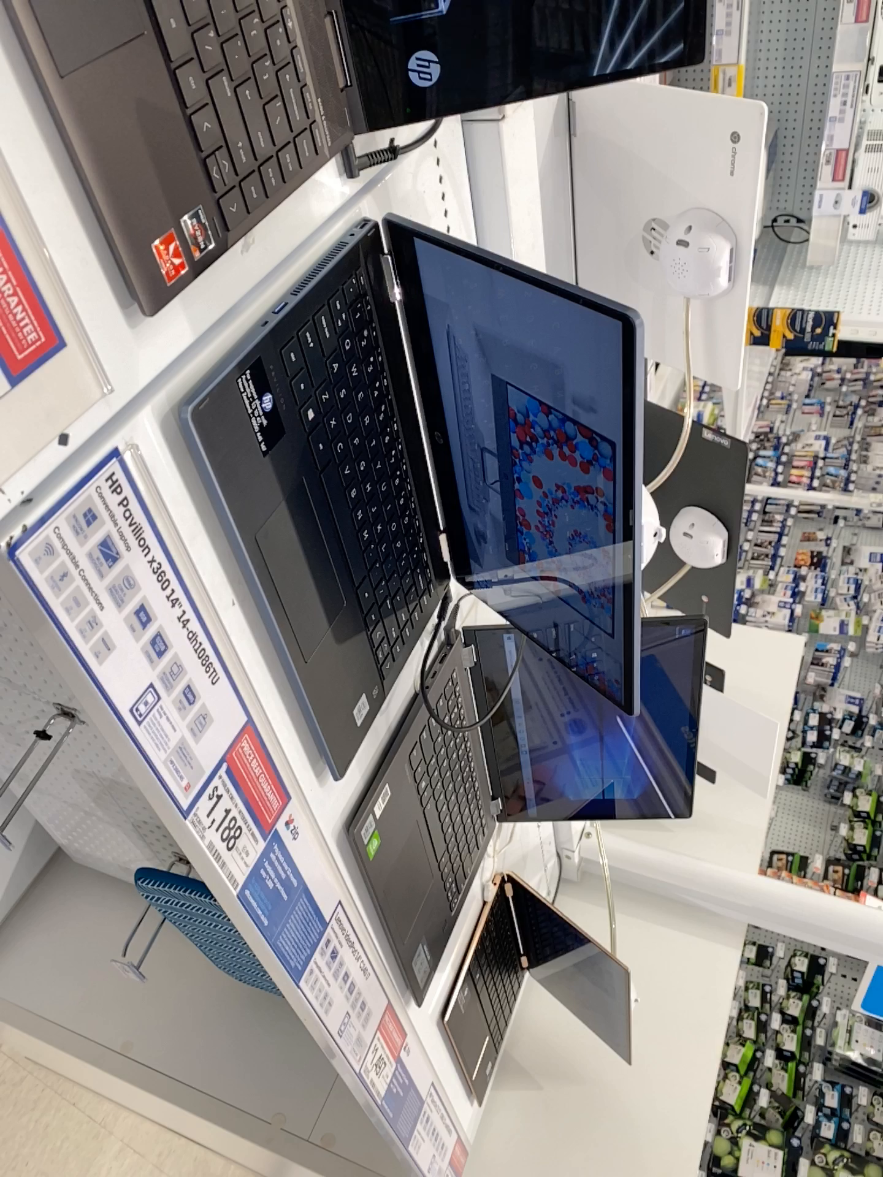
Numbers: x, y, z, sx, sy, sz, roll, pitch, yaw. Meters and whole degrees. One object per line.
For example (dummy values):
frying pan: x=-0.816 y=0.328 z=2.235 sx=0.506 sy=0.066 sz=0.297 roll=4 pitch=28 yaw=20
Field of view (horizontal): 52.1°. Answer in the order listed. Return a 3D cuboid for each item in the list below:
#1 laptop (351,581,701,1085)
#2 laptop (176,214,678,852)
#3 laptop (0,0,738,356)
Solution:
laptop: x=0.105 y=0.220 z=0.845 sx=0.307 sy=0.199 sz=0.294 roll=78 pitch=32 yaw=-41
laptop: x=0.026 y=-0.032 z=0.566 sx=0.314 sy=0.189 sz=0.211 roll=77 pitch=32 yaw=-44
laptop: x=-0.016 y=-0.330 z=0.351 sx=0.325 sy=0.173 sz=0.327 roll=-59 pitch=148 yaw=-37
